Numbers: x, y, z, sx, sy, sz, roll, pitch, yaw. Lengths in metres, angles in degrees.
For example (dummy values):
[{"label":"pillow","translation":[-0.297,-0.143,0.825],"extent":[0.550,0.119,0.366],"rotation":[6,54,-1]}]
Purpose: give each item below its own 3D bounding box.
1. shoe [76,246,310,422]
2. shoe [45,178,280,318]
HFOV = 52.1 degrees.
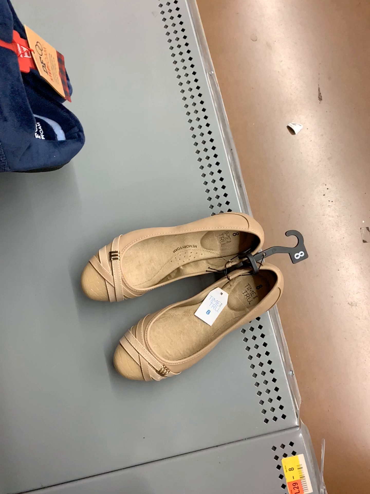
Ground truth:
[{"label":"shoe","translation":[0.011,0.113,0.526],"extent":[0.280,0.100,0.100],"rotation":[-27,83,-2]},{"label":"shoe","translation":[-0.028,0.006,0.528],"extent":[0.280,0.100,0.100],"rotation":[-17,83,-1]}]
